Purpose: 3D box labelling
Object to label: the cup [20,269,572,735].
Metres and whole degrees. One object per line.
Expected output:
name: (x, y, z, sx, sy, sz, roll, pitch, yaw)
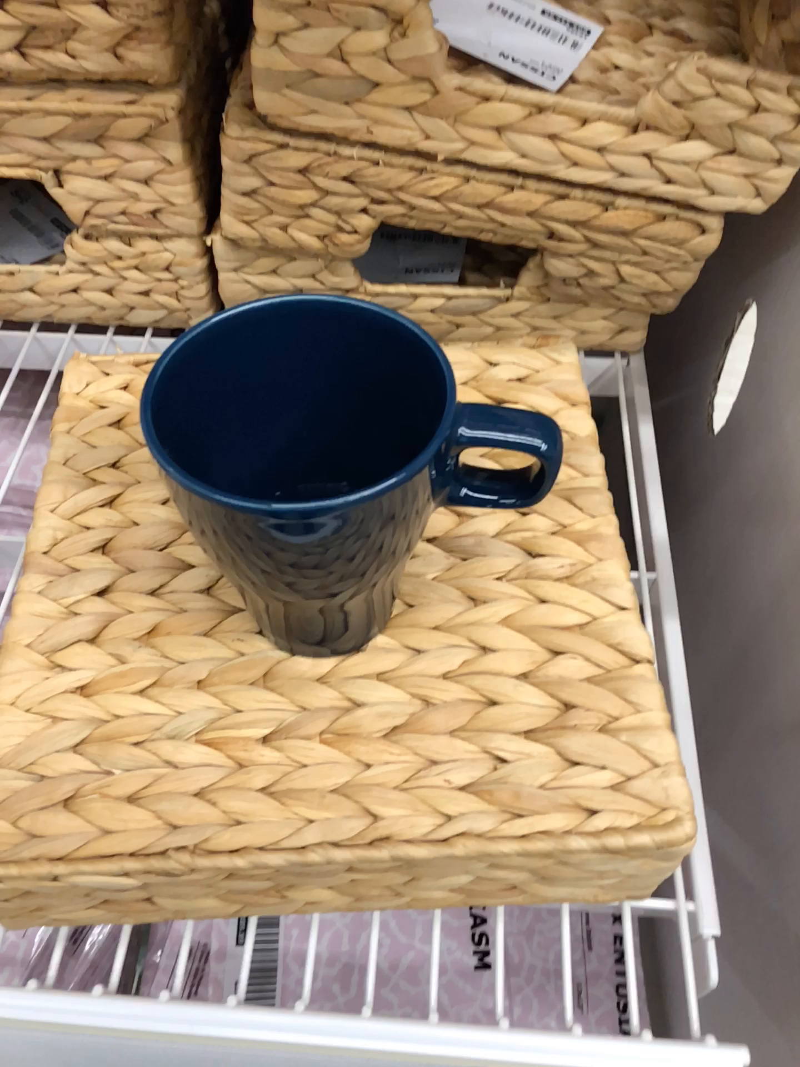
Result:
cup: (-0.020, -0.008, 0.255, 0.120, 0.090, 0.080, 8, 53, 7)
